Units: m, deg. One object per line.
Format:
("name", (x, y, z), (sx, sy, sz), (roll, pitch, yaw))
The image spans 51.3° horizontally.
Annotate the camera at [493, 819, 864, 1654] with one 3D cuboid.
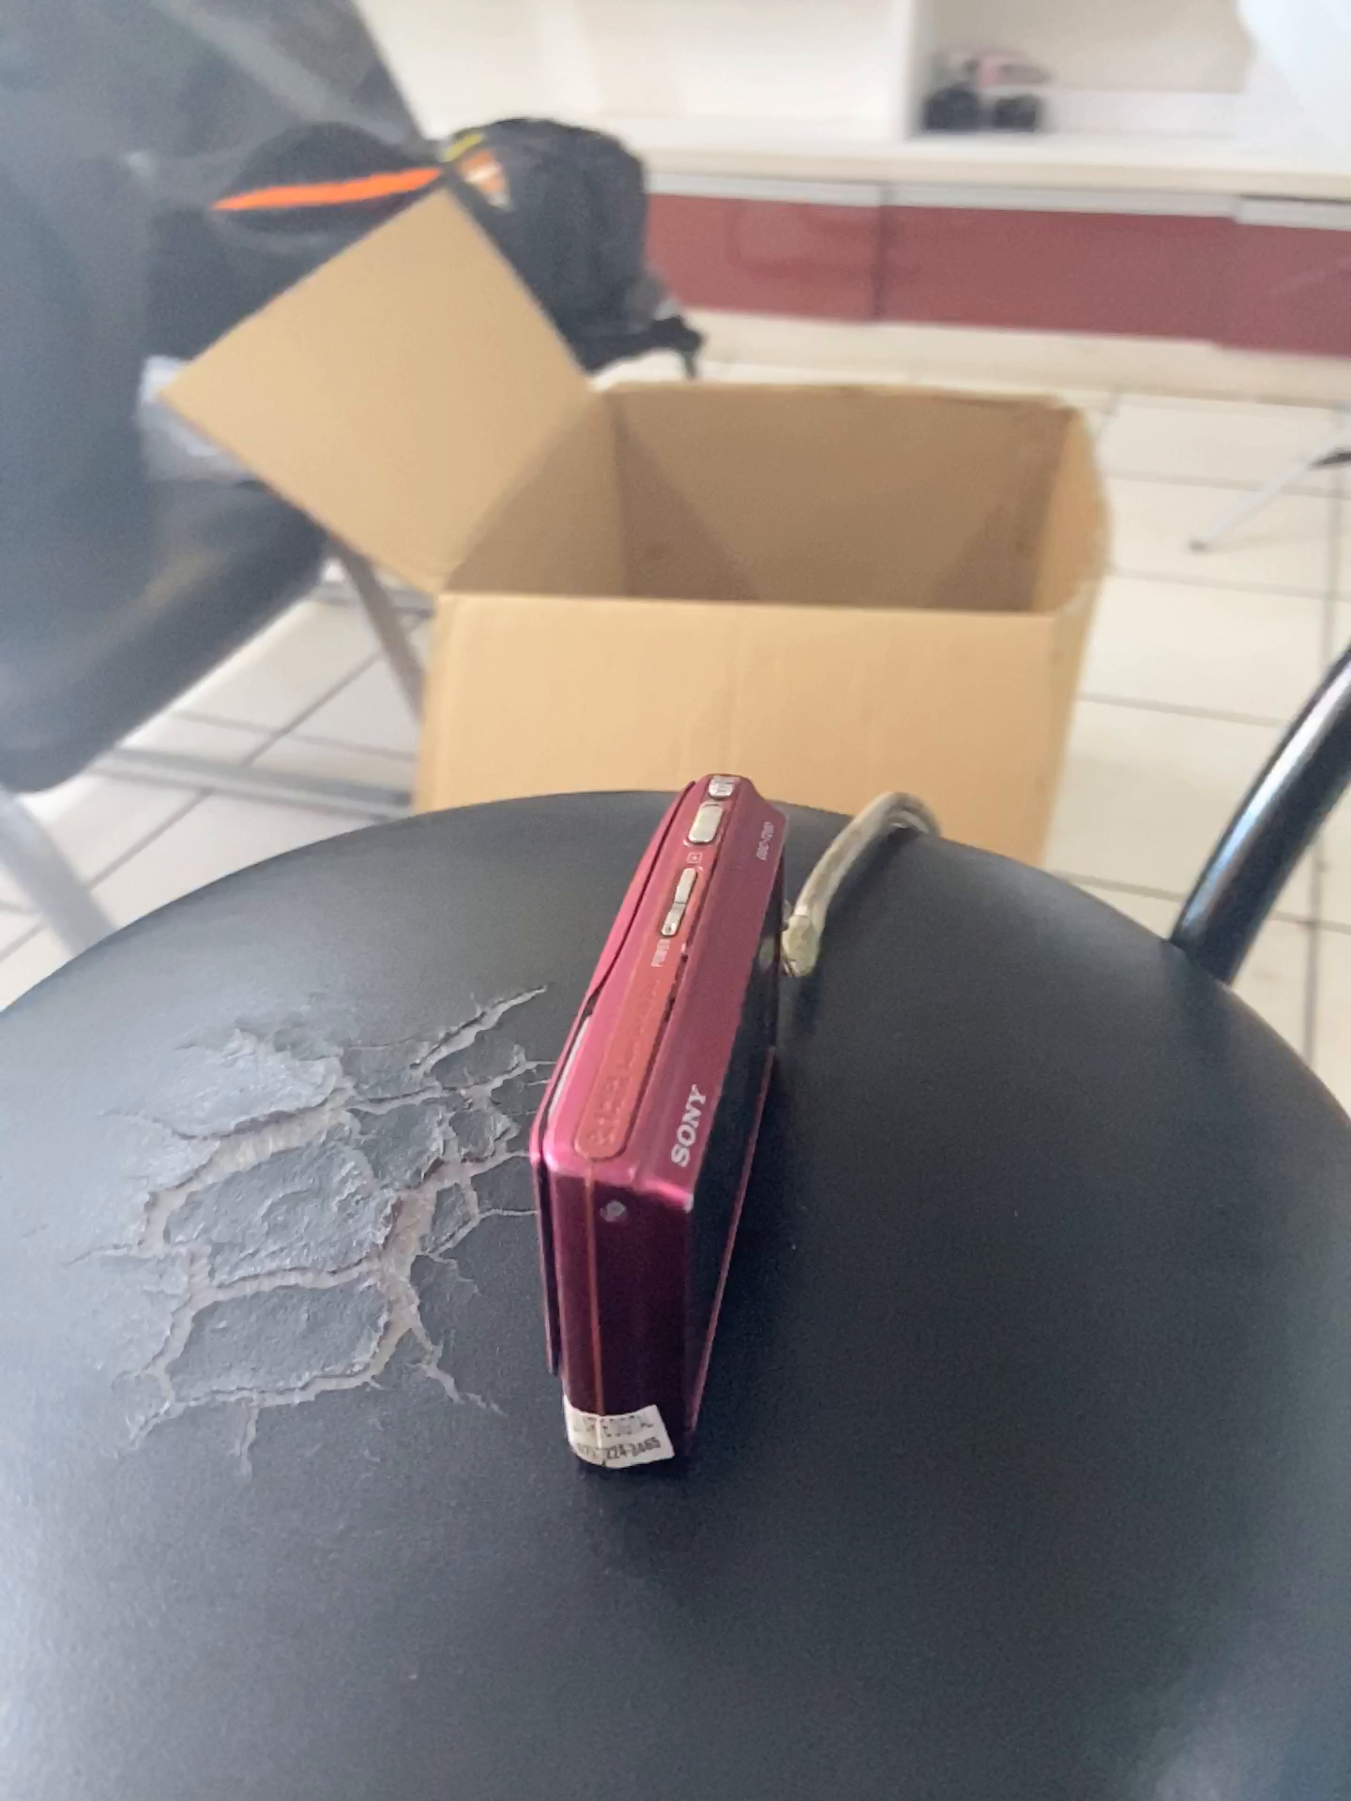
("camera", (0.006, 0.041, 0.204), (0.030, 0.060, 0.101), (5, 36, 11))
